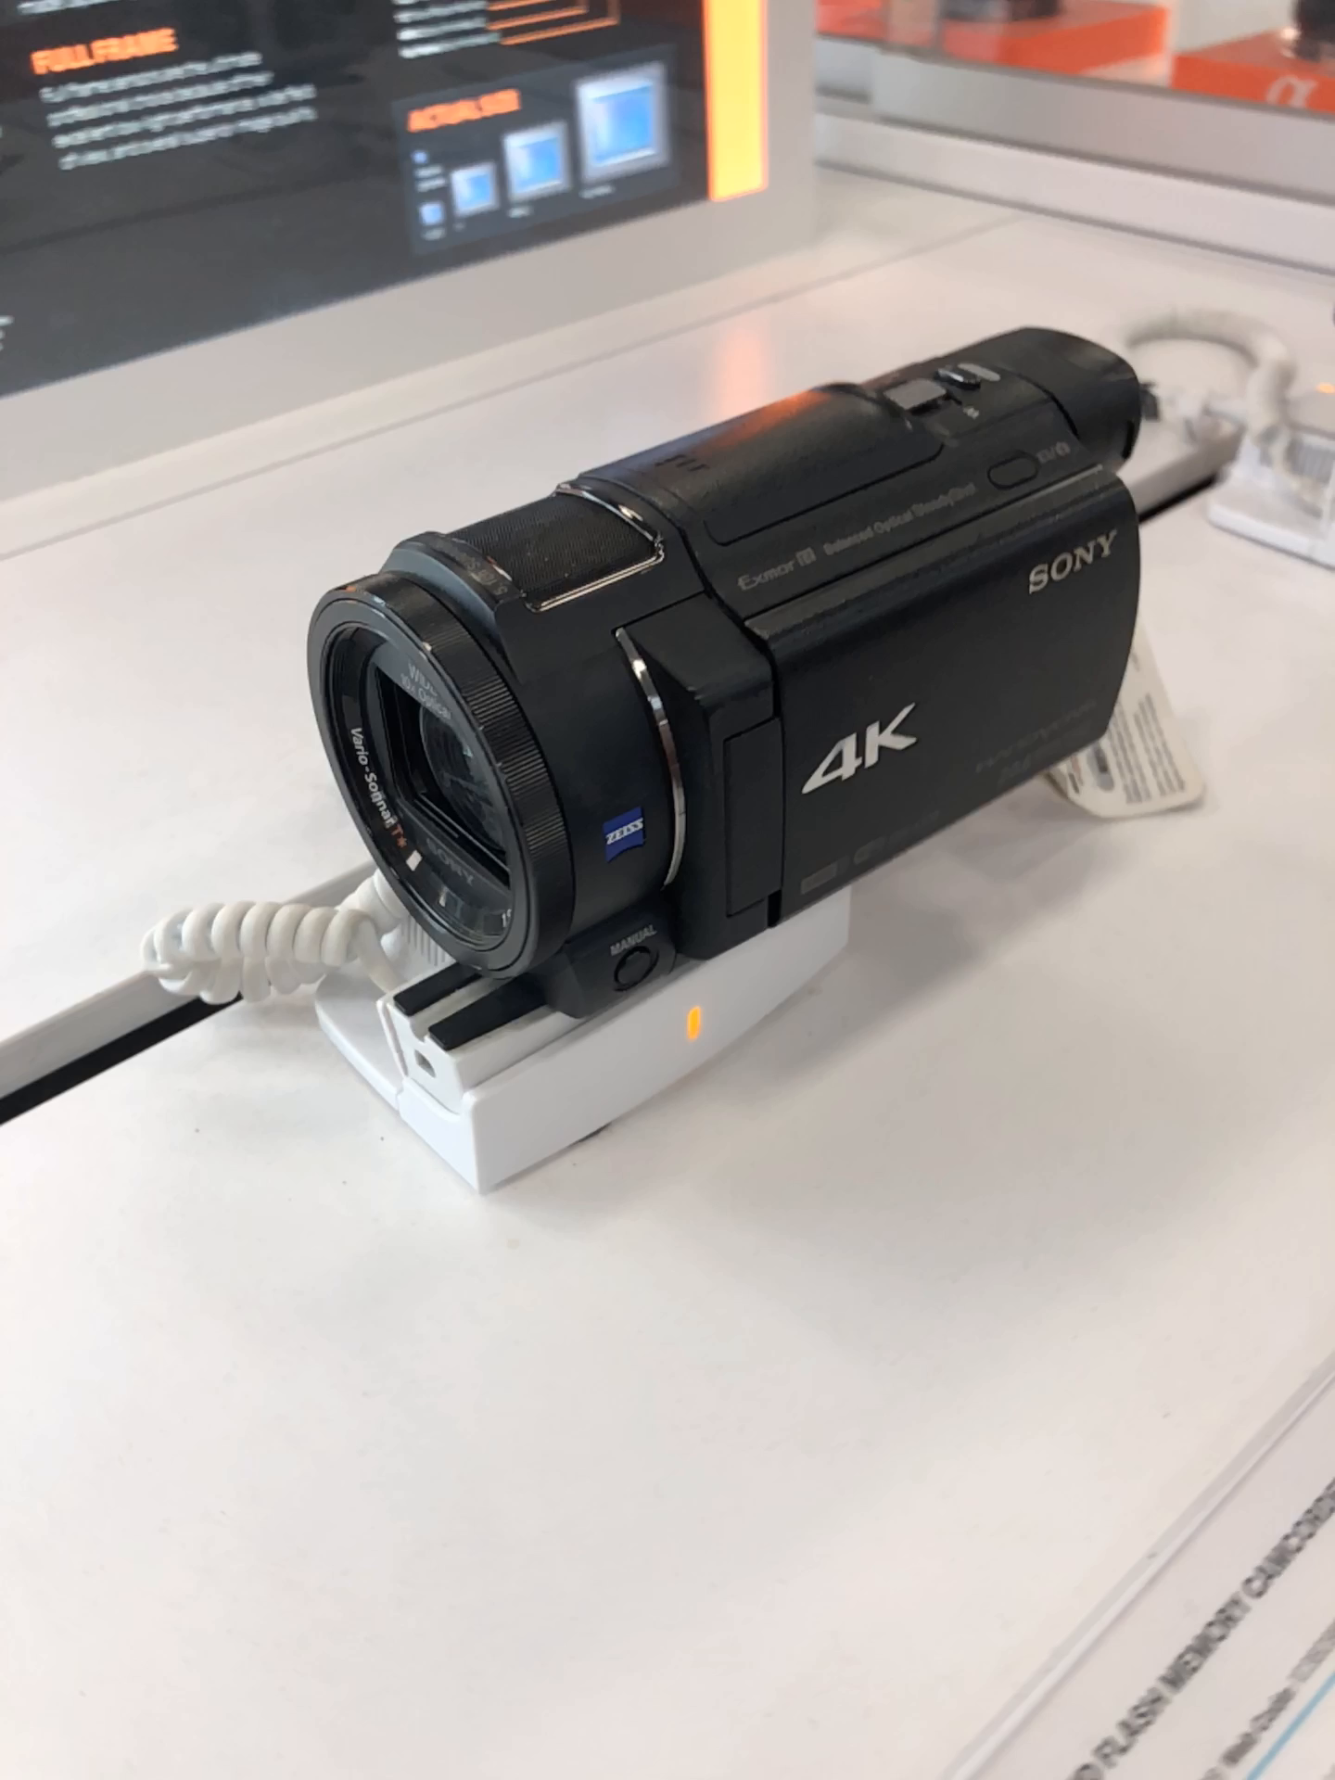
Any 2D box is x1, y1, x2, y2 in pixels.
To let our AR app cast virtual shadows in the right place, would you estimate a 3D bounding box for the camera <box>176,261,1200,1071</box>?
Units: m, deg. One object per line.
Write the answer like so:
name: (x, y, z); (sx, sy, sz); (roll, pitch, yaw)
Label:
camera: (0.009, -0.050, 0.265); (0.150, 0.070, 0.080); (-29, 45, -28)
